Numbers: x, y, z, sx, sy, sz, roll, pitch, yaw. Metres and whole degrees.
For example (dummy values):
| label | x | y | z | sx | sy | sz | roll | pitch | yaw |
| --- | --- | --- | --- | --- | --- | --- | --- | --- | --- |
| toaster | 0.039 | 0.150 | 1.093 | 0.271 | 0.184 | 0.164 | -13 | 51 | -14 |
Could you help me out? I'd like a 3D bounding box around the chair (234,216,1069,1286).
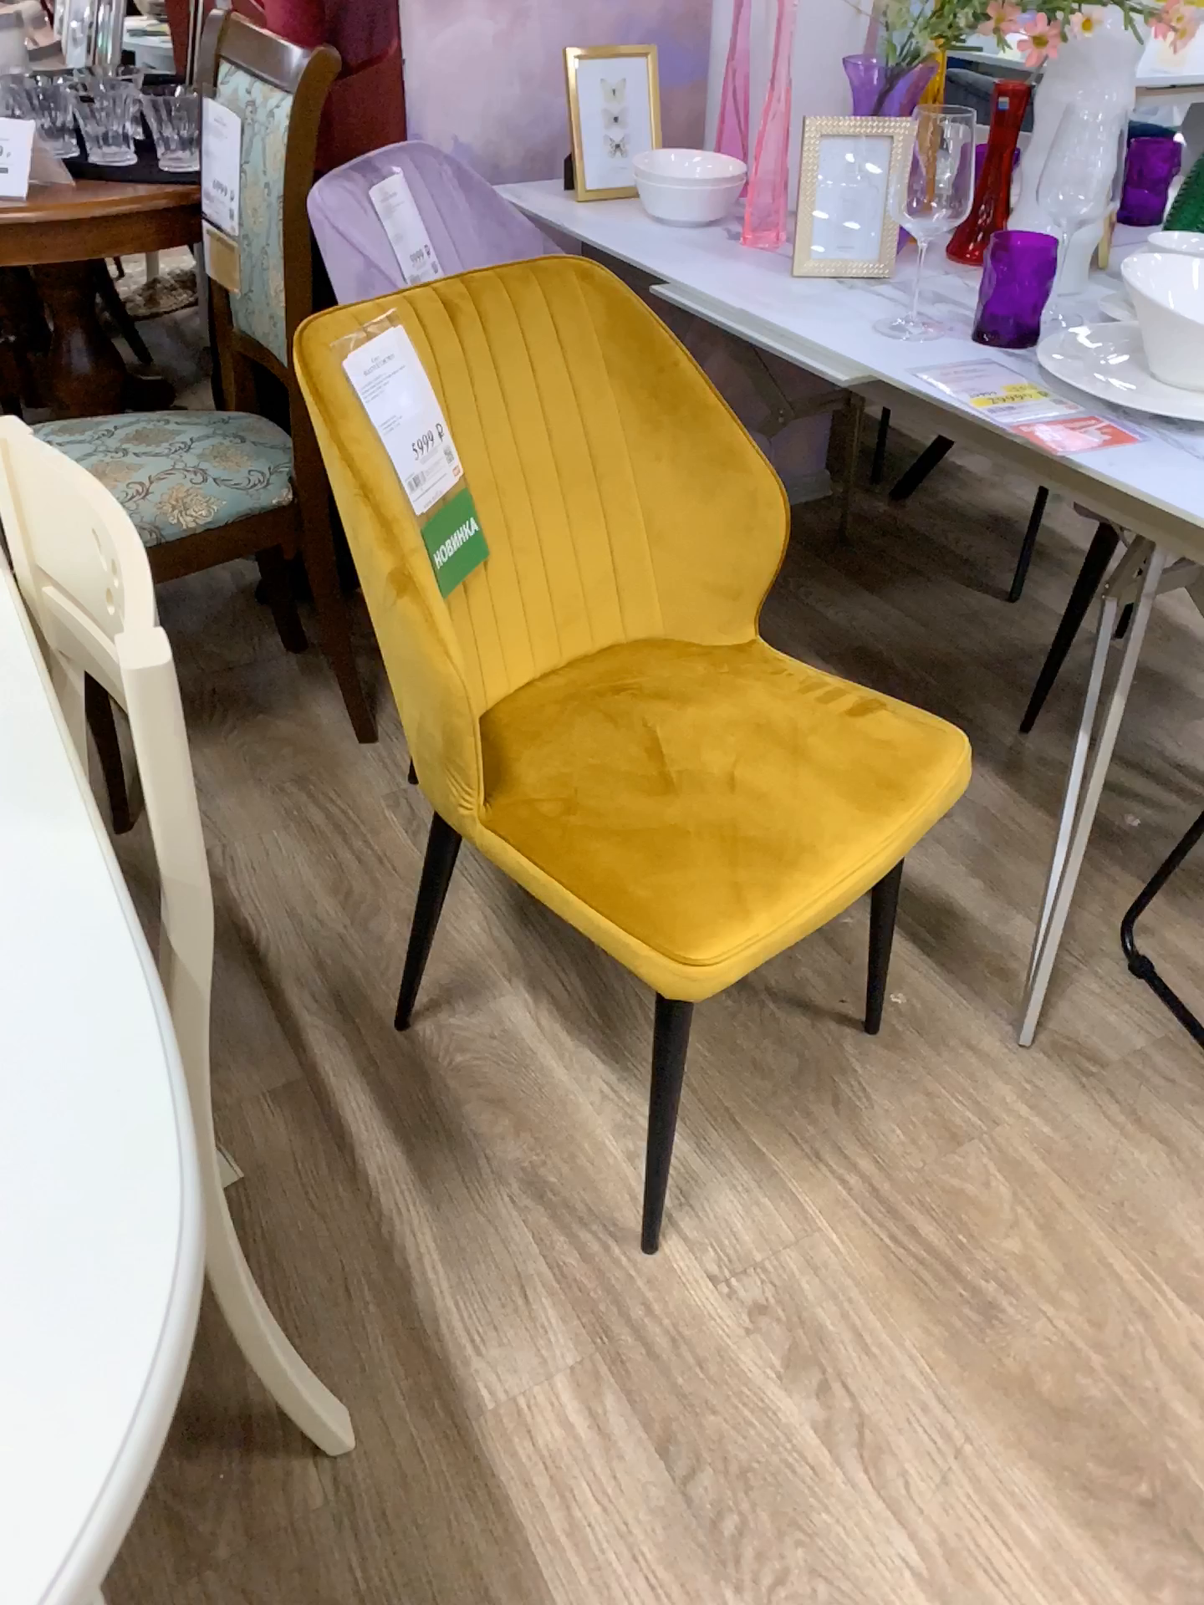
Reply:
| label | x | y | z | sx | sy | sz | roll | pitch | yaw |
| --- | --- | --- | --- | --- | --- | --- | --- | --- | --- |
| chair | 0.033 | -0.061 | 1.306 | 0.501 | 0.885 | 0.502 | 30 | 45 | 32 |
